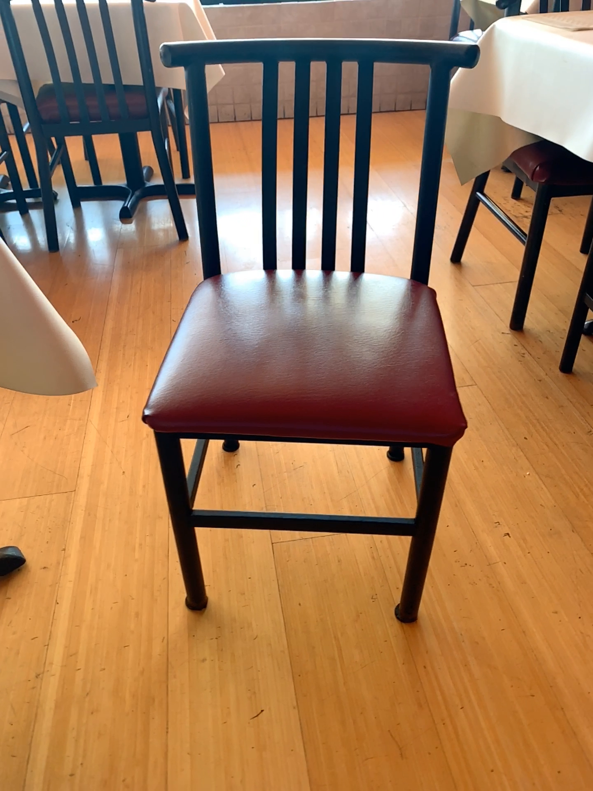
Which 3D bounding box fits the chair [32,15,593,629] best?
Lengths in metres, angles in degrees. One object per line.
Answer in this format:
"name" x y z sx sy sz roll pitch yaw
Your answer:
"chair" 0.029 -0.118 0.932 0.480 0.726 0.573 3 38 1
